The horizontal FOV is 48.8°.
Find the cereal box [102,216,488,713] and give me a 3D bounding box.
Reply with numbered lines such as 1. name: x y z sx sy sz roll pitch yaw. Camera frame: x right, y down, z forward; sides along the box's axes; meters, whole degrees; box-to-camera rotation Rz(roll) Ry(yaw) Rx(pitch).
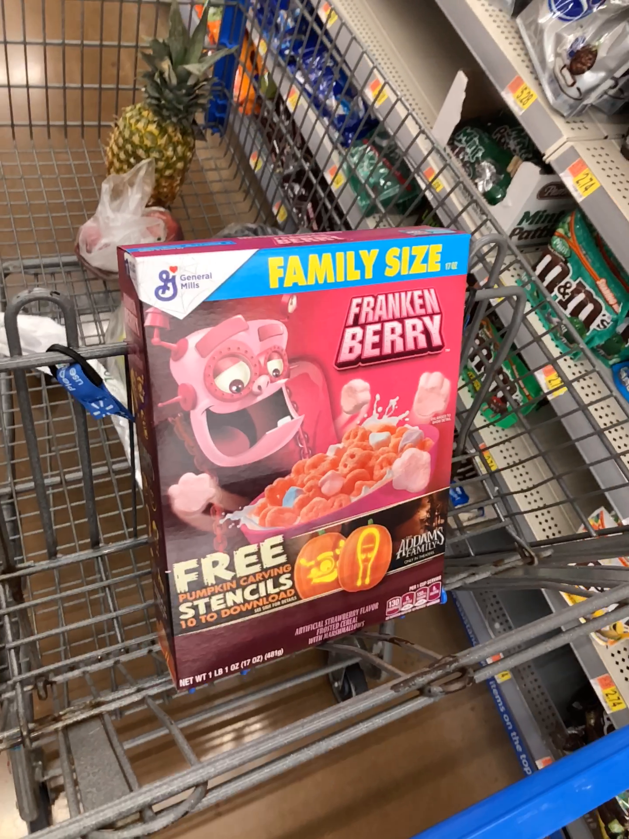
1. cereal box: -0.006 0.027 0.506 0.240 0.320 0.070 -11 24 -23
